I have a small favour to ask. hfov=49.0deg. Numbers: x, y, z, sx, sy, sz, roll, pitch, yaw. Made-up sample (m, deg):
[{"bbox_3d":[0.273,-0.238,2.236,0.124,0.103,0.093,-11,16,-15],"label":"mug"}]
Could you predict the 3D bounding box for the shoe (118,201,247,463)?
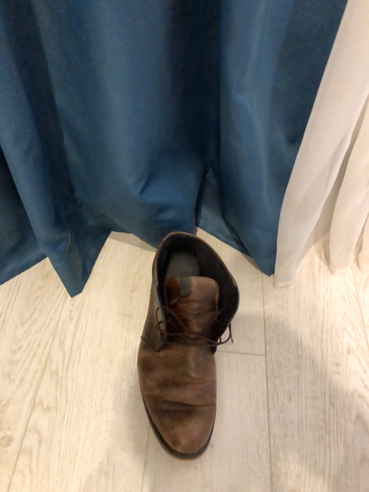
[{"bbox_3d":[-0.007,0.109,0.570,0.130,0.159,0.322,1,52,-2],"label":"shoe"}]
